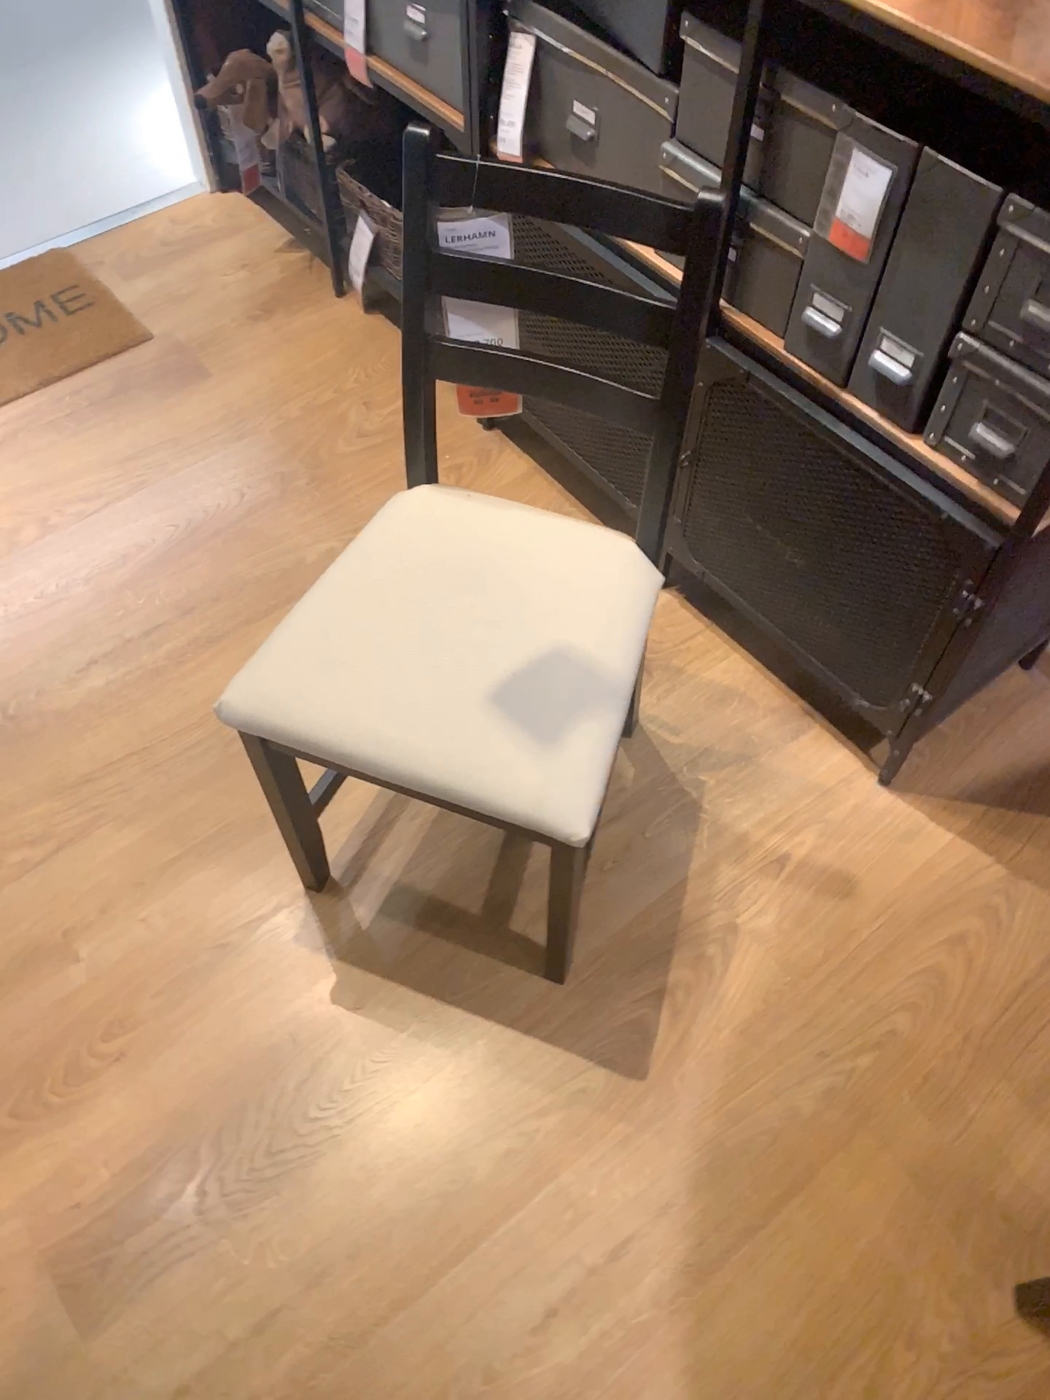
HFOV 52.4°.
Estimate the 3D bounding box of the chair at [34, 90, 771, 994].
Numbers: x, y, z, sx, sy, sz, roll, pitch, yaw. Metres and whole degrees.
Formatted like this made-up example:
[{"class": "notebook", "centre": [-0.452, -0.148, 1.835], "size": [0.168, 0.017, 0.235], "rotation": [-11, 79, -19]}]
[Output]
[{"class": "chair", "centre": [-0.065, -0.105, 1.136], "size": [0.400, 0.768, 0.471], "rotation": [19, 58, 13]}]
